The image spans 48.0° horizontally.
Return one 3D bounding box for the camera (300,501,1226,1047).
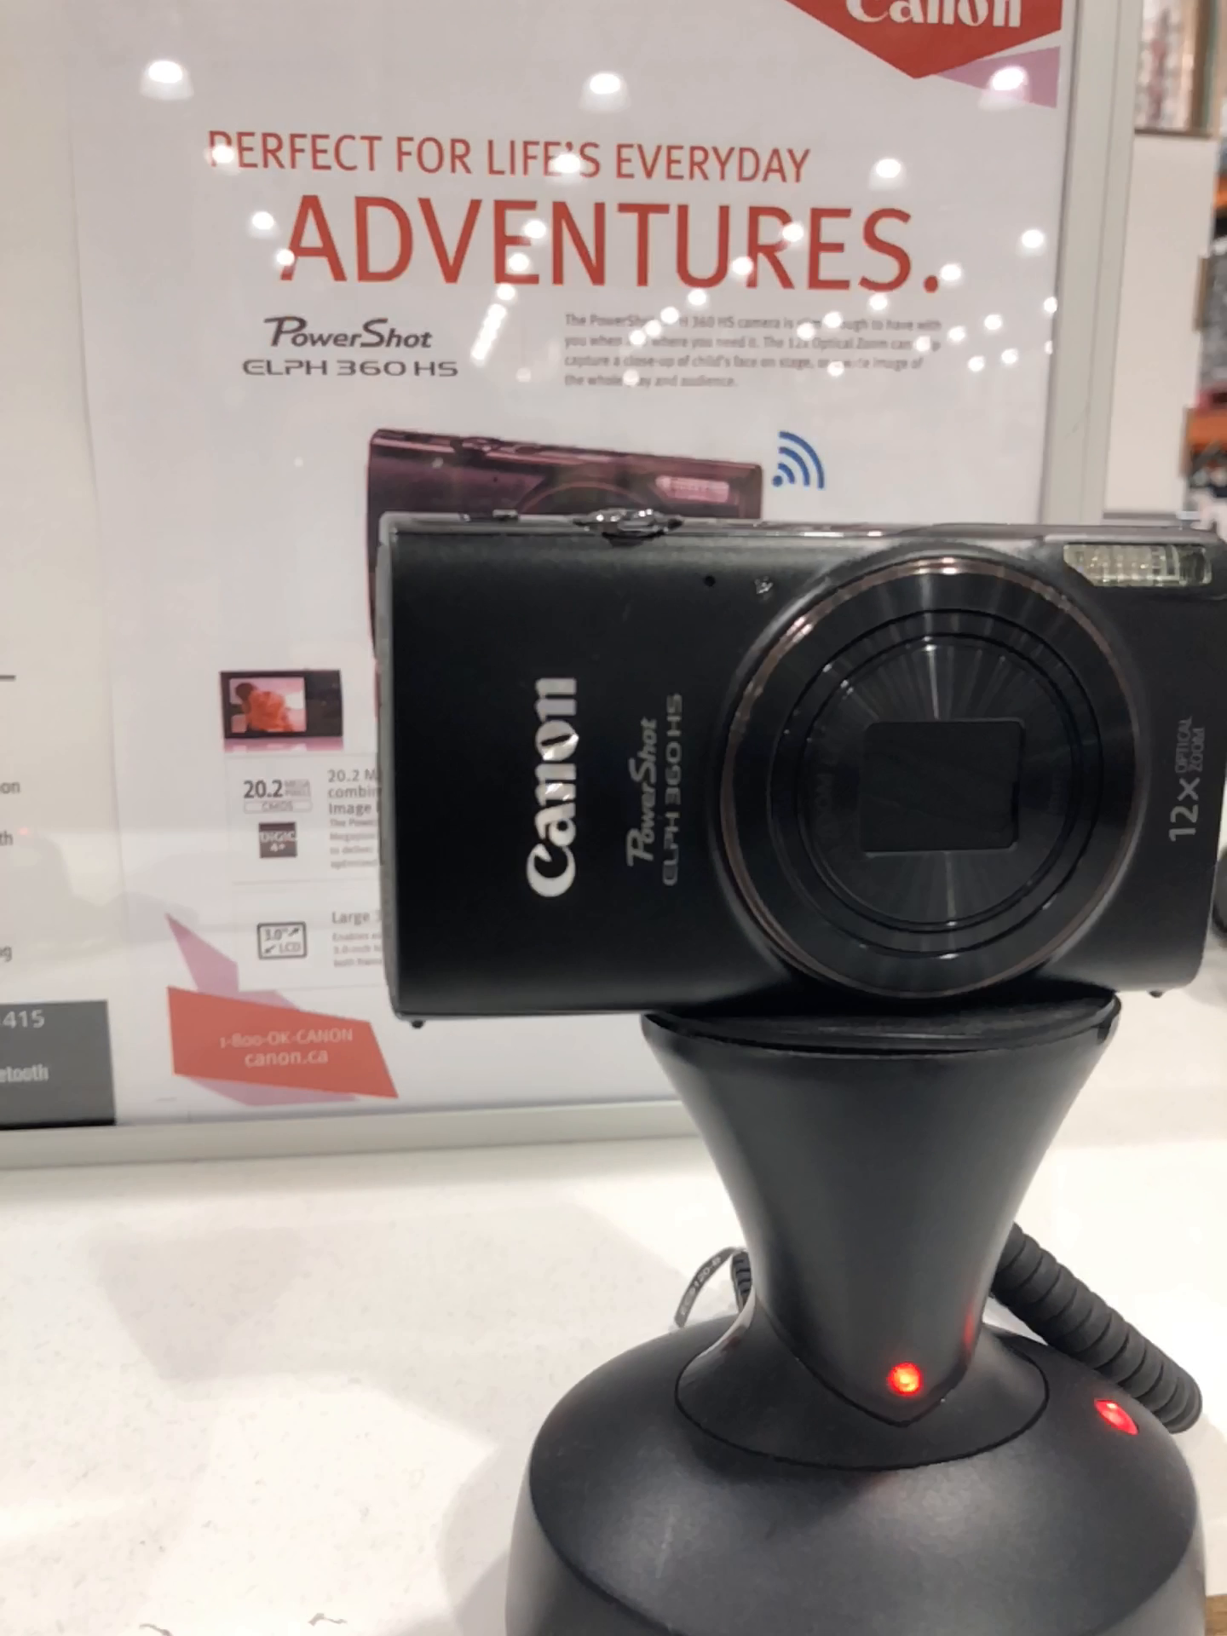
[{"bbox_3d":[0.020,-0.008,0.171,0.110,0.060,0.030,-1,12,-8],"label":"camera"}]
